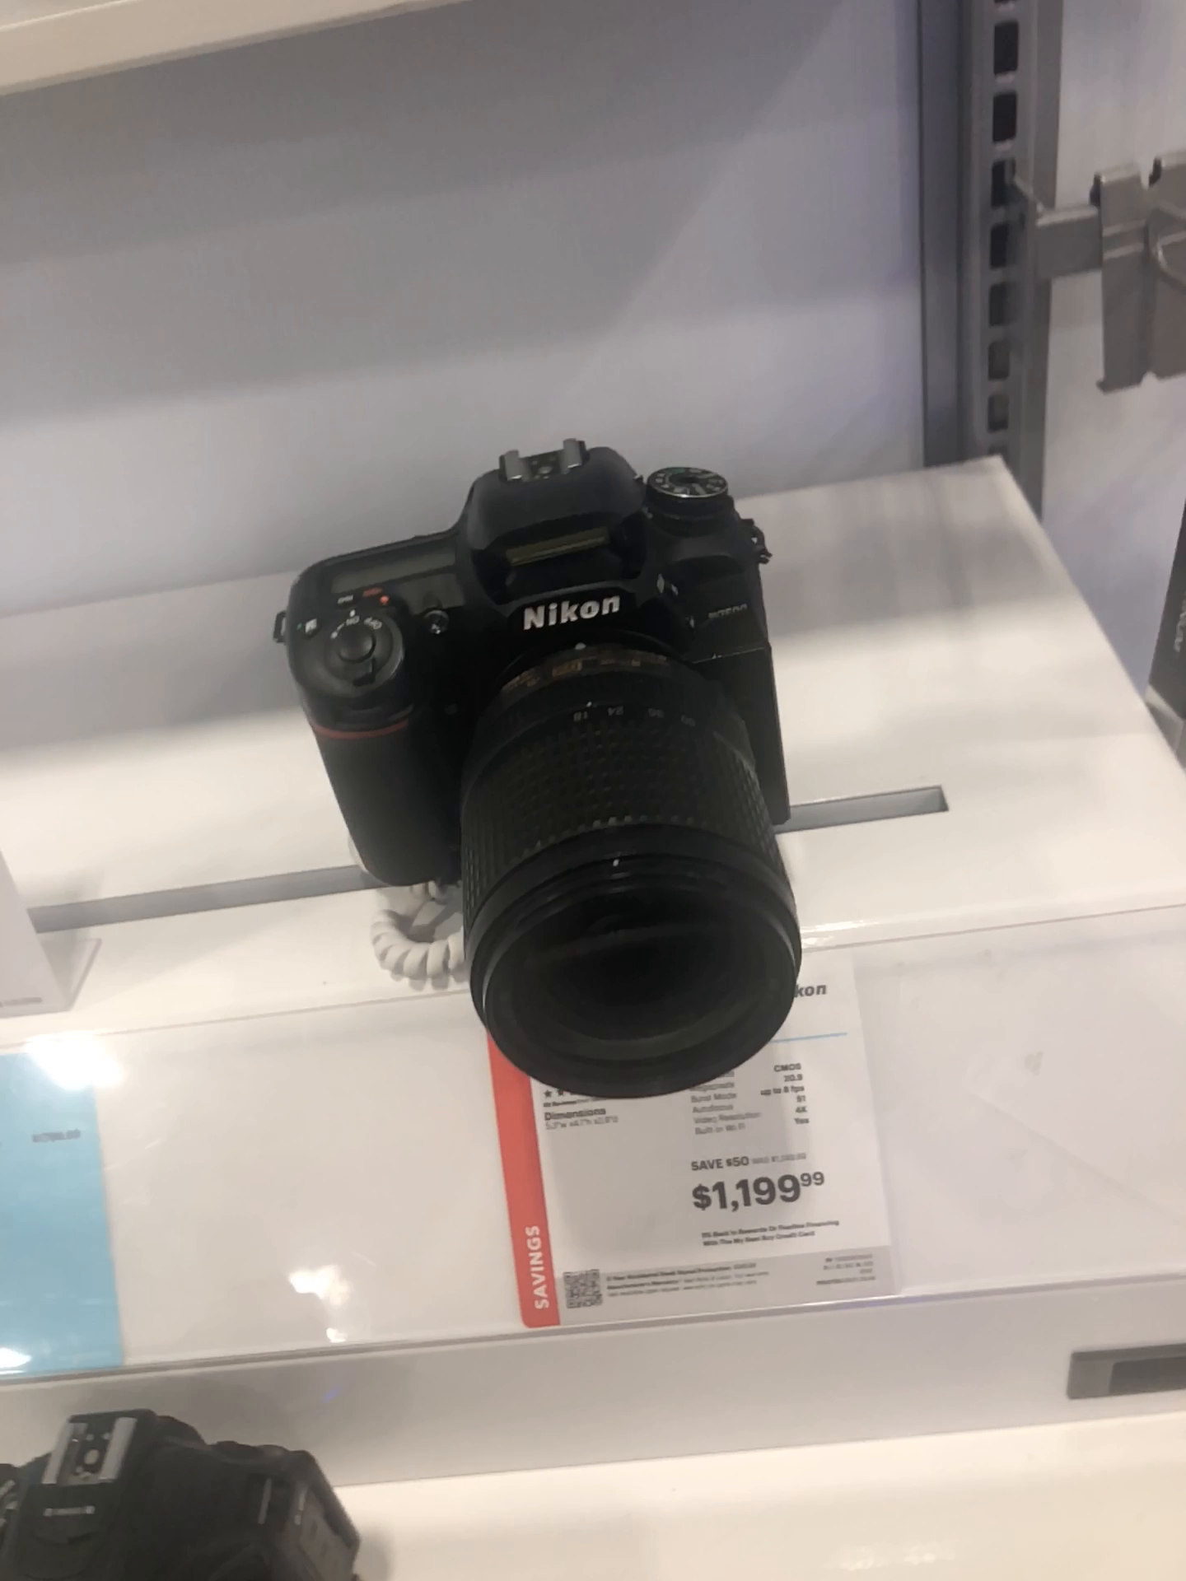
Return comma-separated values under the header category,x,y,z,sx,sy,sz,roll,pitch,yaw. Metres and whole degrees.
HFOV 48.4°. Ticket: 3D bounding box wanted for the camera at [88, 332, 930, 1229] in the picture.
category,x,y,z,sx,sy,sz,roll,pitch,yaw
camera,-0.014,-0.015,0.344,0.150,0.120,0.191,-10,37,2
